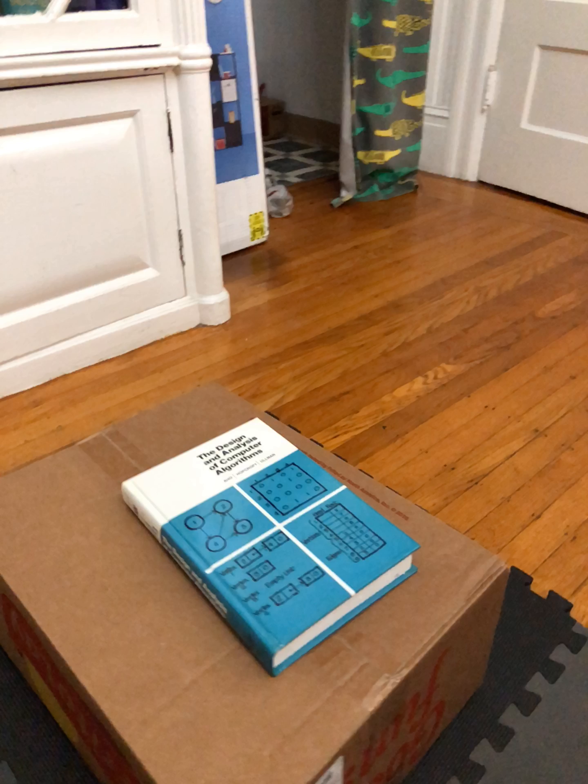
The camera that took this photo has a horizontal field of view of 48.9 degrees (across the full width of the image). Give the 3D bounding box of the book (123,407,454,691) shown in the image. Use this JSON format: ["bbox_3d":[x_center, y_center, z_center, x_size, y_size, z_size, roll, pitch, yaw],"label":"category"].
[{"bbox_3d":[-0.014,0.123,0.619,0.191,0.040,0.261,-24,41,-32],"label":"book"}]
